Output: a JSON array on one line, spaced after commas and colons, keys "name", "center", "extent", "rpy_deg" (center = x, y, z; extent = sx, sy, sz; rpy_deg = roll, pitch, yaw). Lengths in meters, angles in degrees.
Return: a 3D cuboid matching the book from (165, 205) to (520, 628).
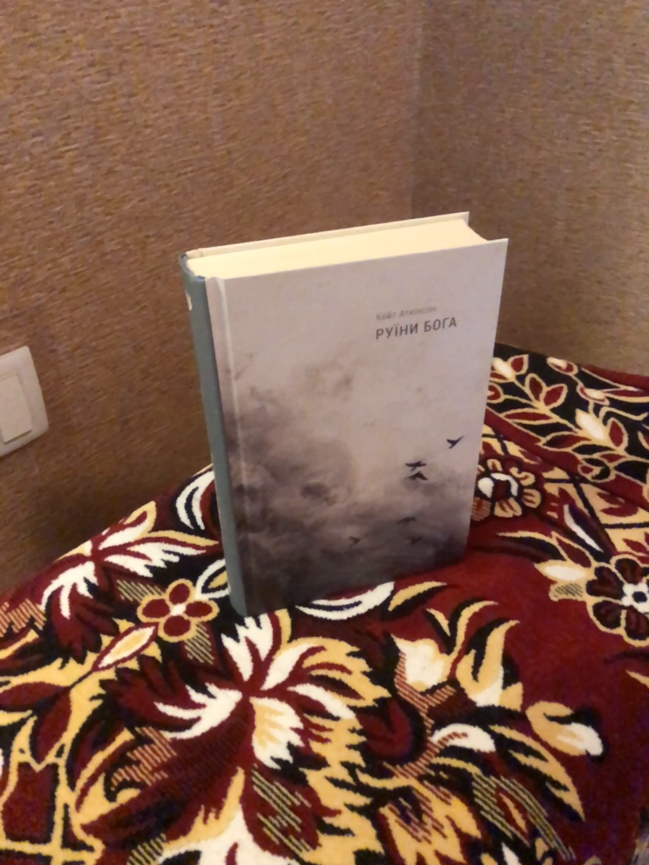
[{"name": "book", "center": [0.008, -0.001, 0.365], "extent": [0.145, 0.200, 0.048], "rpy_deg": [-11, 38, -15]}]
